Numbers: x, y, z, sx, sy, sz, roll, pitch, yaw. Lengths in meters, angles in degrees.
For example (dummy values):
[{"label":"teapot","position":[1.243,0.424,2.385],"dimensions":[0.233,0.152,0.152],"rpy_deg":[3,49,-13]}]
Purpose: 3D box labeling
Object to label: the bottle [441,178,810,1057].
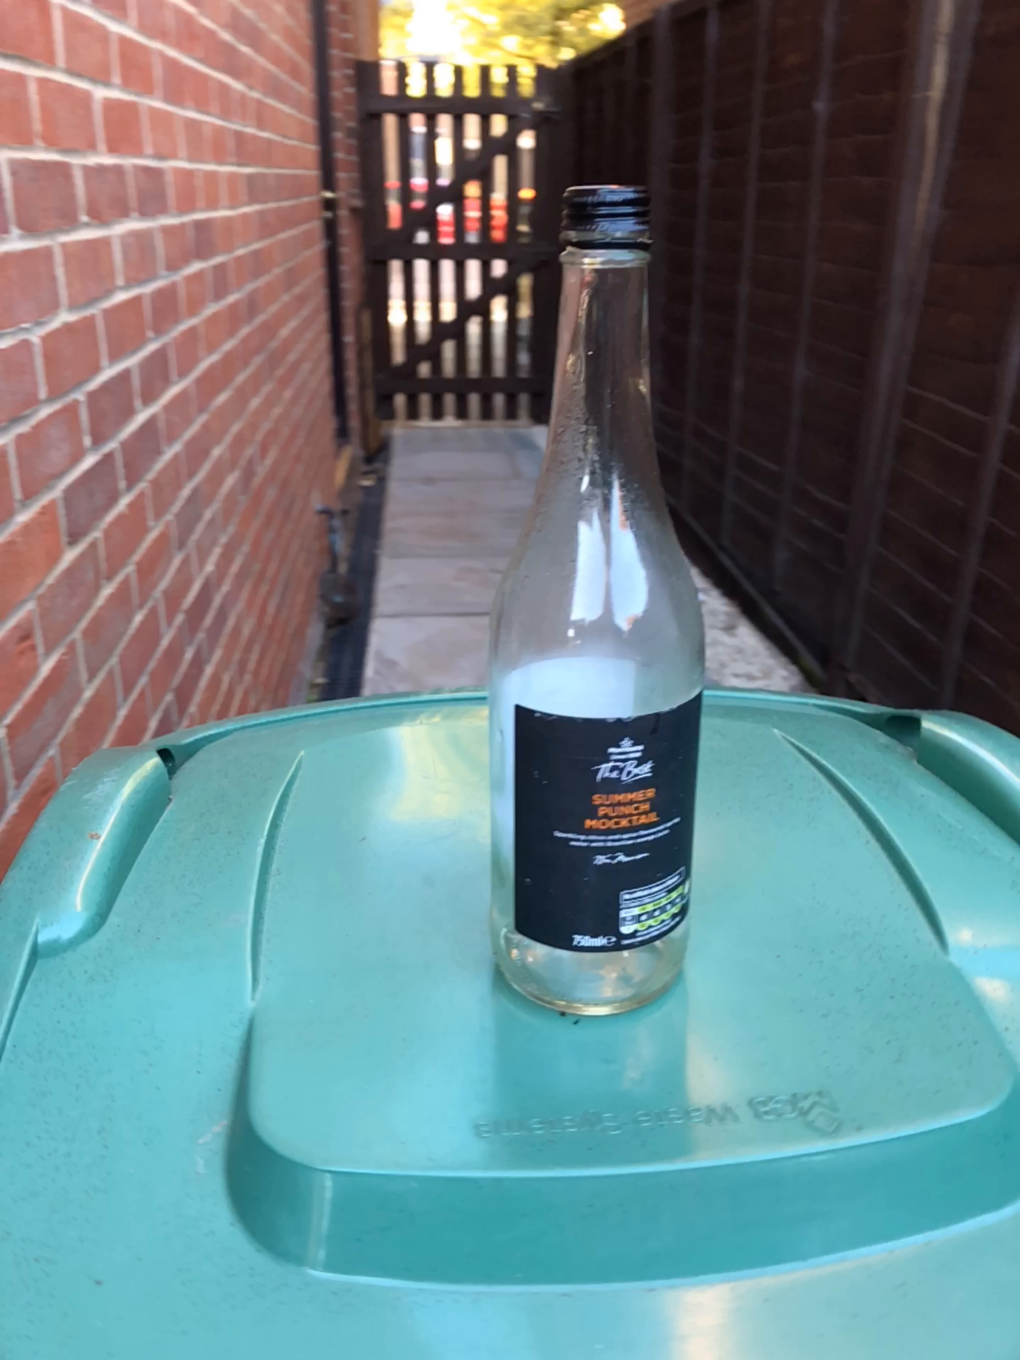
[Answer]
[{"label":"bottle","position":[0.029,-0.017,0.393],"dimensions":[0.090,0.288,0.080],"rpy_deg":[-5,23,-12]}]
